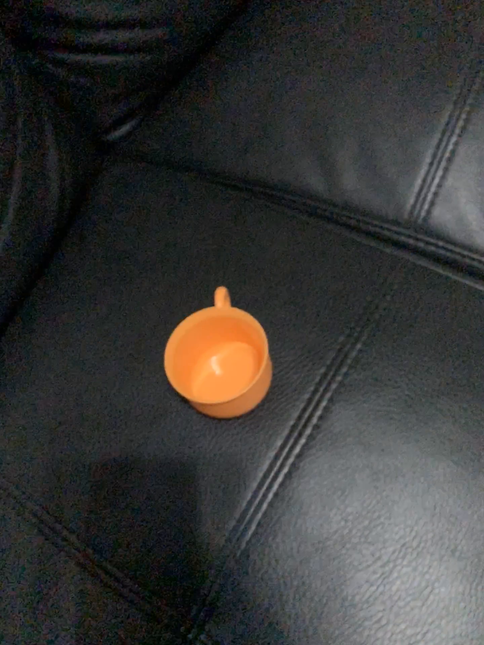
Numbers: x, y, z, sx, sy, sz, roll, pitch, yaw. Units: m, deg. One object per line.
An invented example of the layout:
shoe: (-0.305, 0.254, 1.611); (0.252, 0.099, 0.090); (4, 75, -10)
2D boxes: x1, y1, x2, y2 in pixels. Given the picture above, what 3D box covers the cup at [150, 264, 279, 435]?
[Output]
cup: (-0.015, 0.016, 0.294); (0.063, 0.046, 0.081); (-7, 63, 5)
